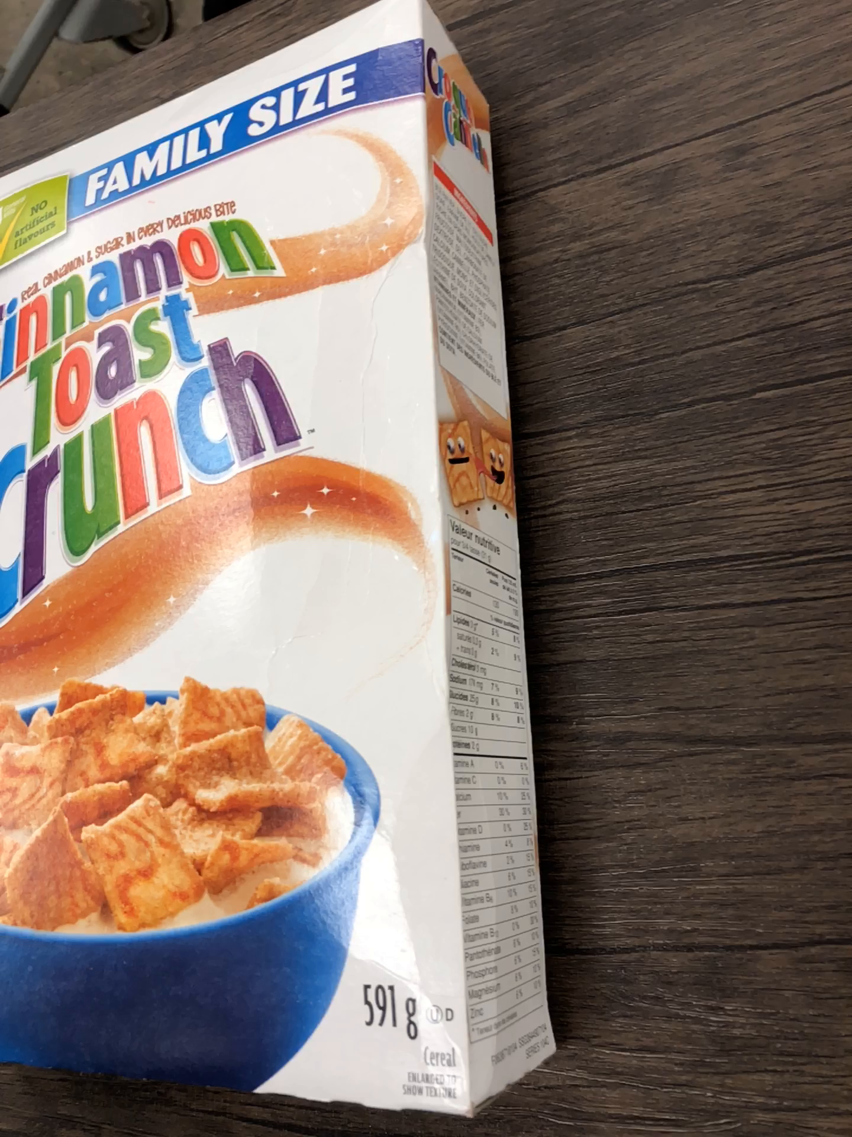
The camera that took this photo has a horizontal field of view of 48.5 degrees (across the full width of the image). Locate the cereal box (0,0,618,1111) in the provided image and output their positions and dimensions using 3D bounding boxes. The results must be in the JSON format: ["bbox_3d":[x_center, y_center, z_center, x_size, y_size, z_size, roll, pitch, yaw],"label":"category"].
[{"bbox_3d":[-0.077,-0.024,0.346,0.251,0.070,0.360,-9,73,24],"label":"cereal box"}]
